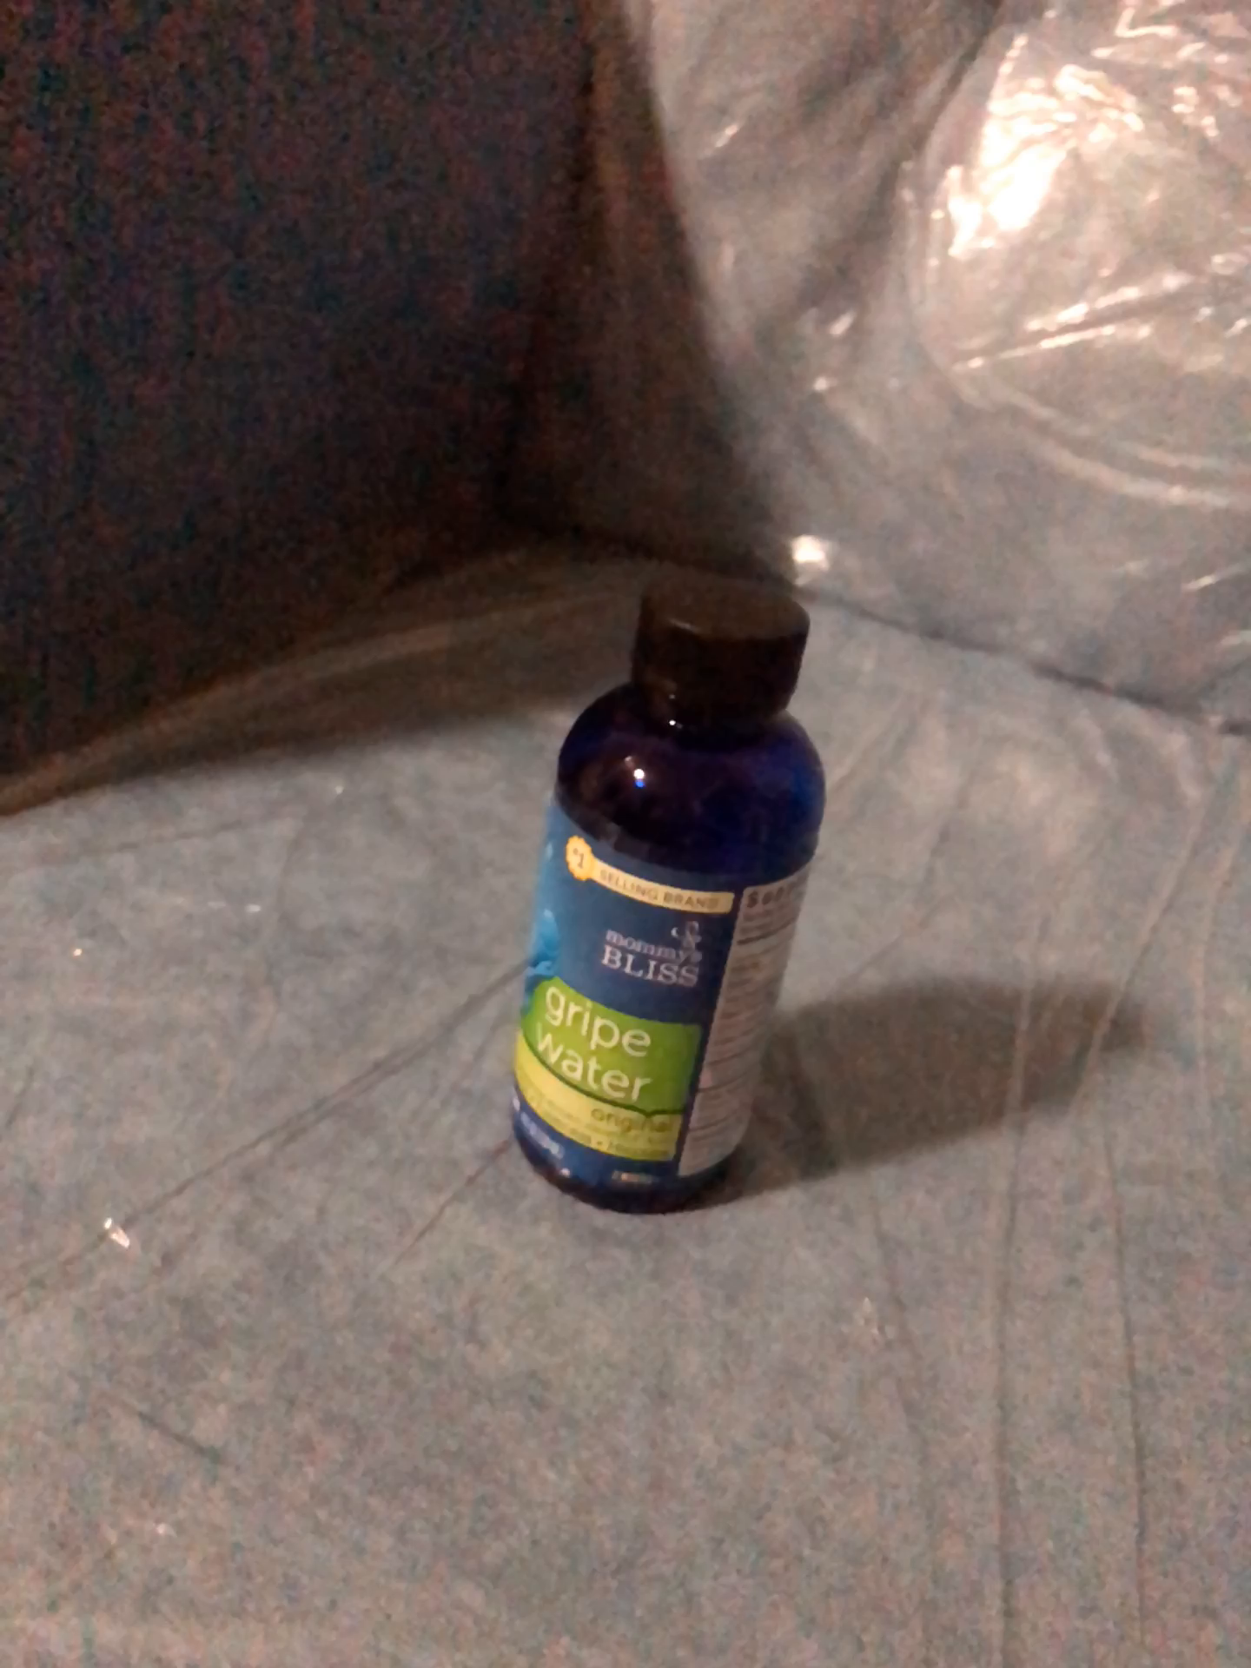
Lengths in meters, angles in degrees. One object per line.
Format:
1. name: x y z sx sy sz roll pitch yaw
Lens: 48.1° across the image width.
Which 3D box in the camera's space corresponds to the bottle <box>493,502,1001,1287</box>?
1. bottle: 0.016 0.011 0.247 0.050 0.120 0.050 6 33 -4
